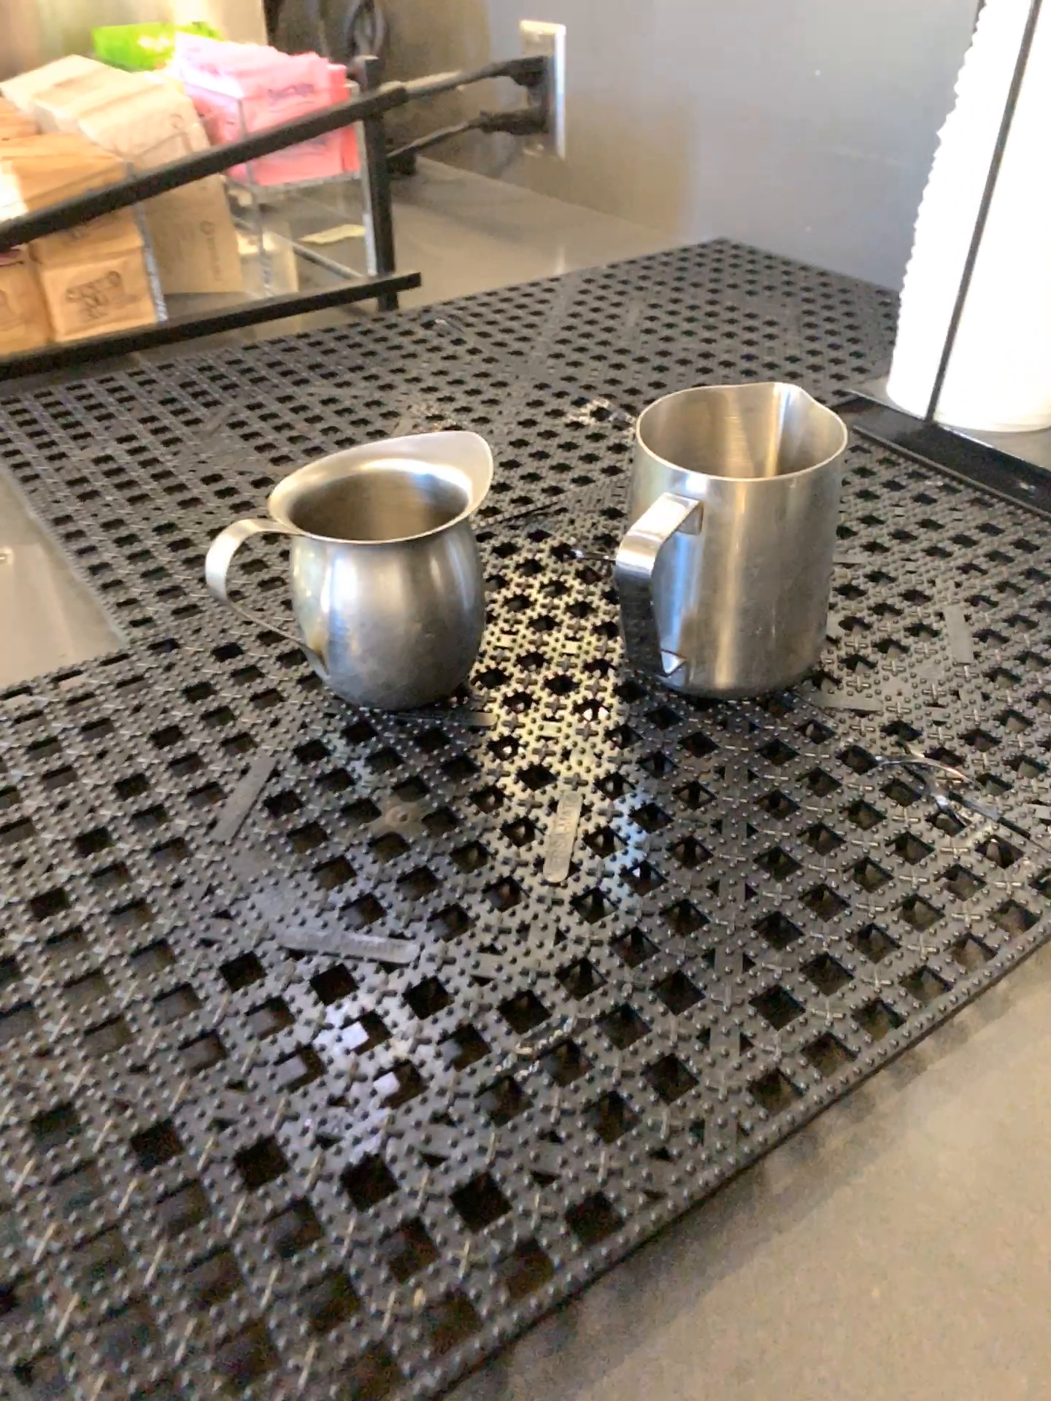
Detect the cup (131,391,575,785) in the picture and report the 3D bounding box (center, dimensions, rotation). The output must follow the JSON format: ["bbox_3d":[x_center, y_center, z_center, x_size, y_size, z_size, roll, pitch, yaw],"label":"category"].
[{"bbox_3d":[-0.052,-0.045,0.371,0.080,0.070,0.120,27,45,32],"label":"cup"}]

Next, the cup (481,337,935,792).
[{"bbox_3d":[0.057,-0.050,0.338,0.080,0.080,0.120,25,44,30],"label":"cup"}]
